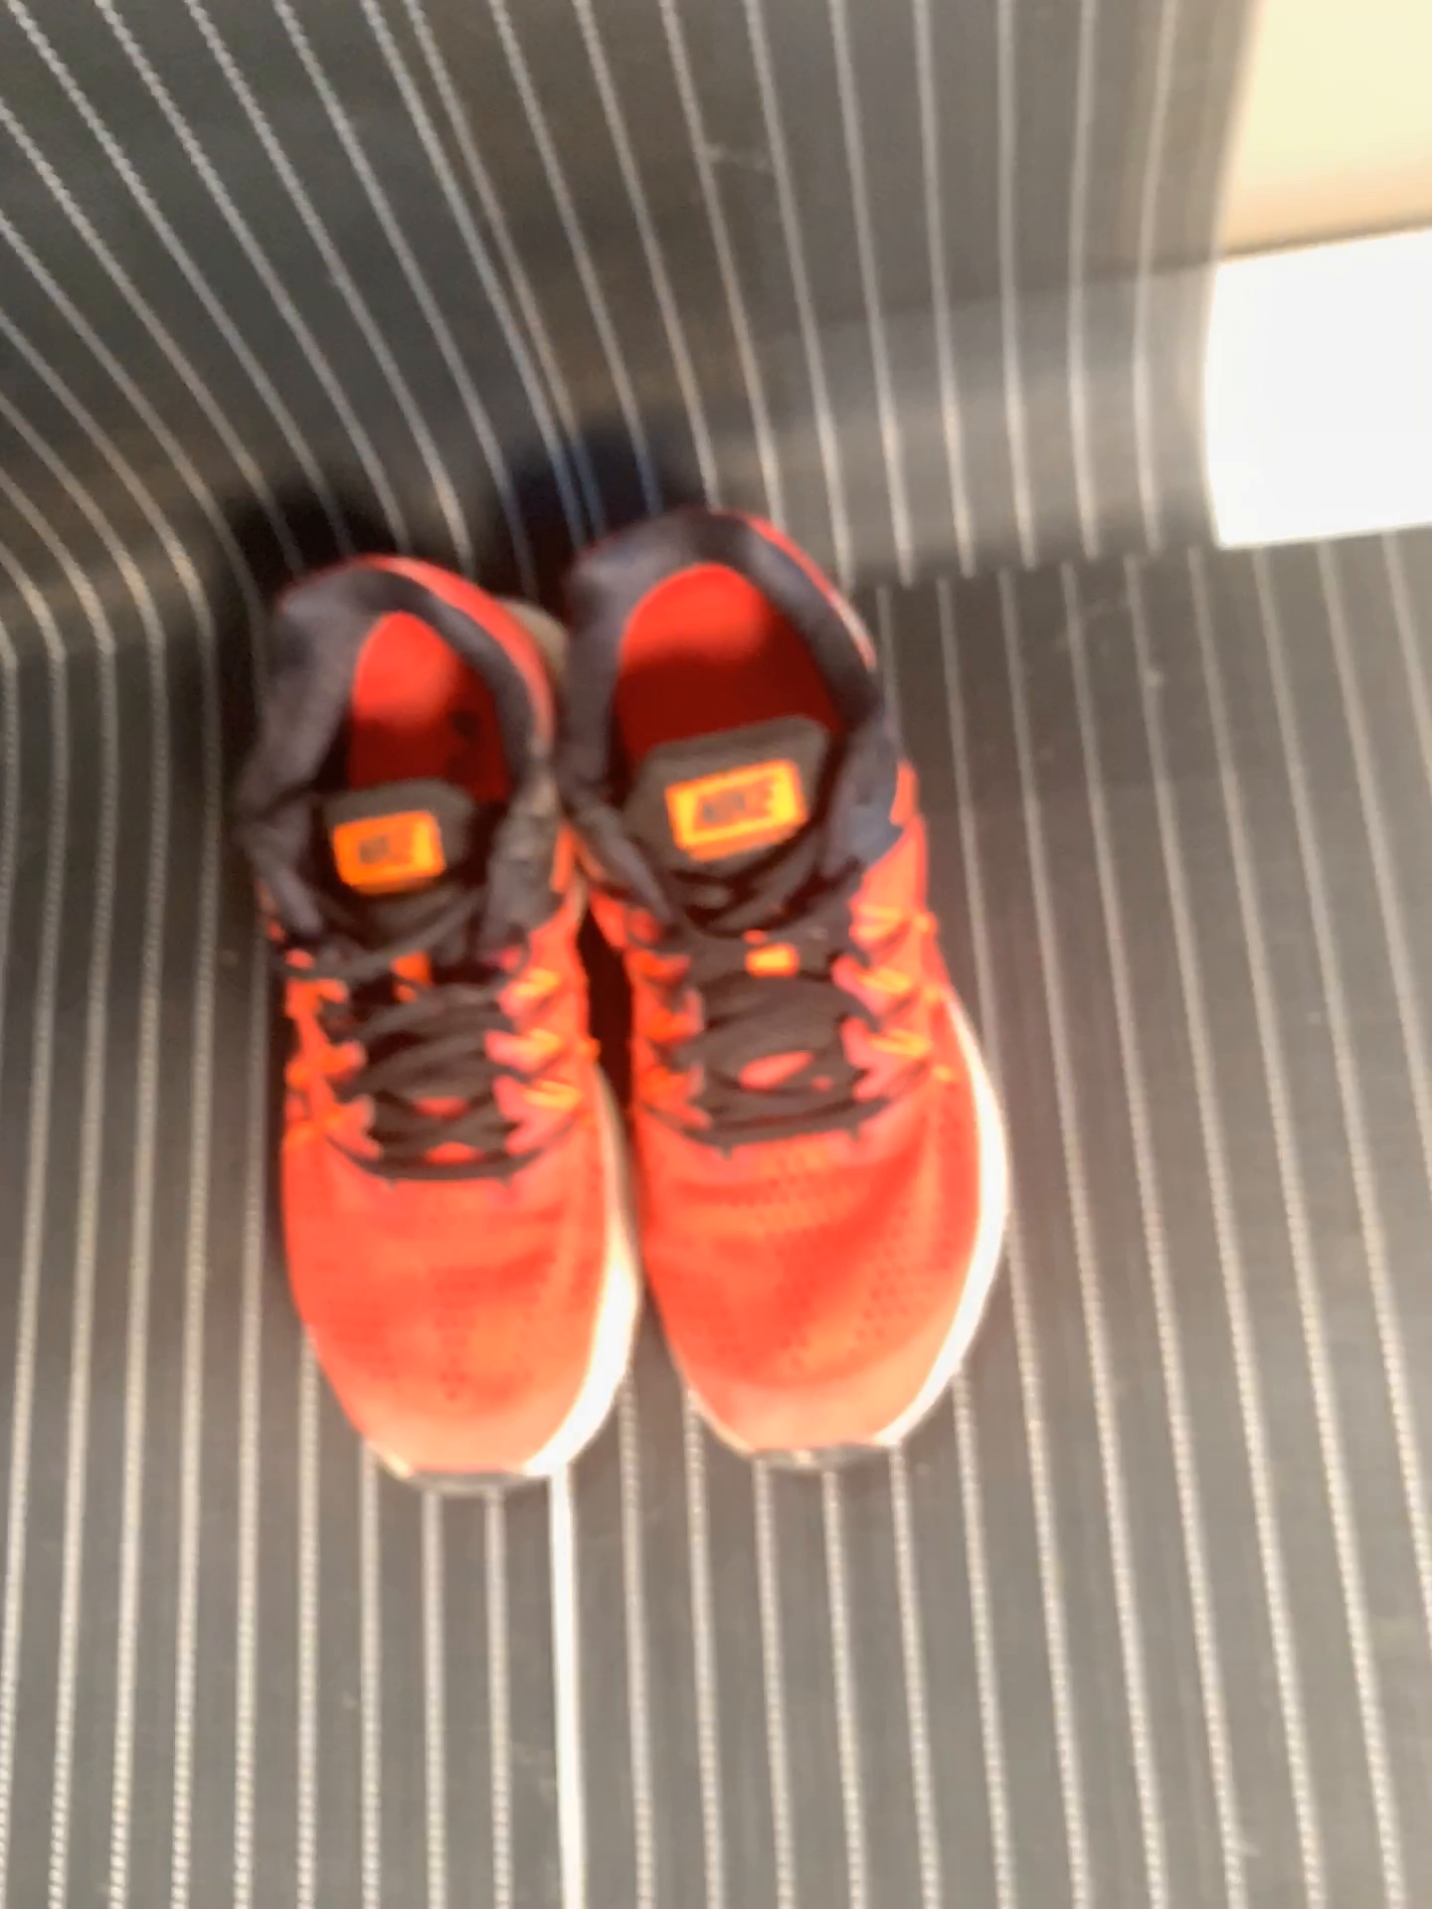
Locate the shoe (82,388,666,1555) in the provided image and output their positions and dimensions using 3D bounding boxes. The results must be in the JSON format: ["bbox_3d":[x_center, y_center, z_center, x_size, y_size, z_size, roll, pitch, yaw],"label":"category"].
[{"bbox_3d":[-0.092,0.006,0.442,0.120,0.110,0.300,-6,75,9],"label":"shoe"}]

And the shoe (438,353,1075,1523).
[{"bbox_3d":[0.010,-0.001,0.408,0.120,0.110,0.270,-9,74,8],"label":"shoe"}]
